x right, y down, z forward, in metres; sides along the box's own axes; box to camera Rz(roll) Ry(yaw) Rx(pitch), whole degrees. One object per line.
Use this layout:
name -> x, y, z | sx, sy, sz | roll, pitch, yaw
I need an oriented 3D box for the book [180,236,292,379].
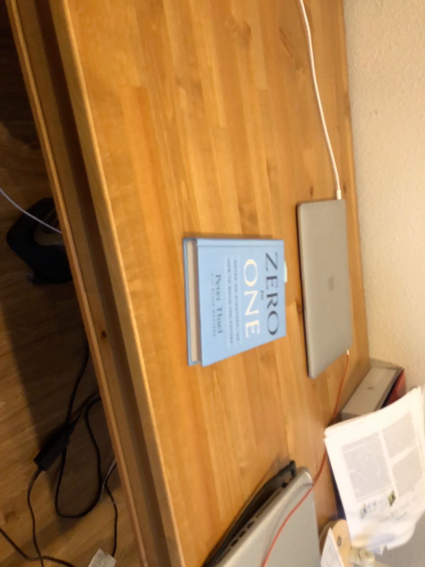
book -> 0.040, 0.018, 0.580 | 0.211, 0.030, 0.150 | -7, 96, -56
